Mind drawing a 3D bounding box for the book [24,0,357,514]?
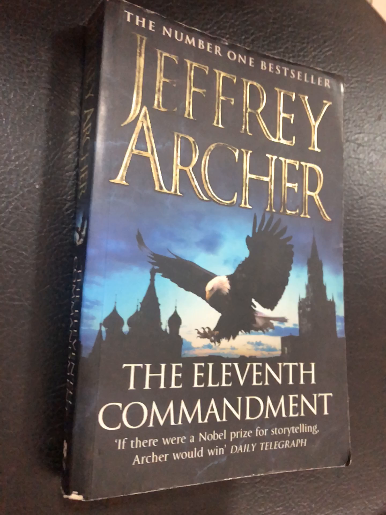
[{"bbox_3d":[0.008,-0.013,0.191,0.131,0.040,0.200,7,82,-27],"label":"book"}]
